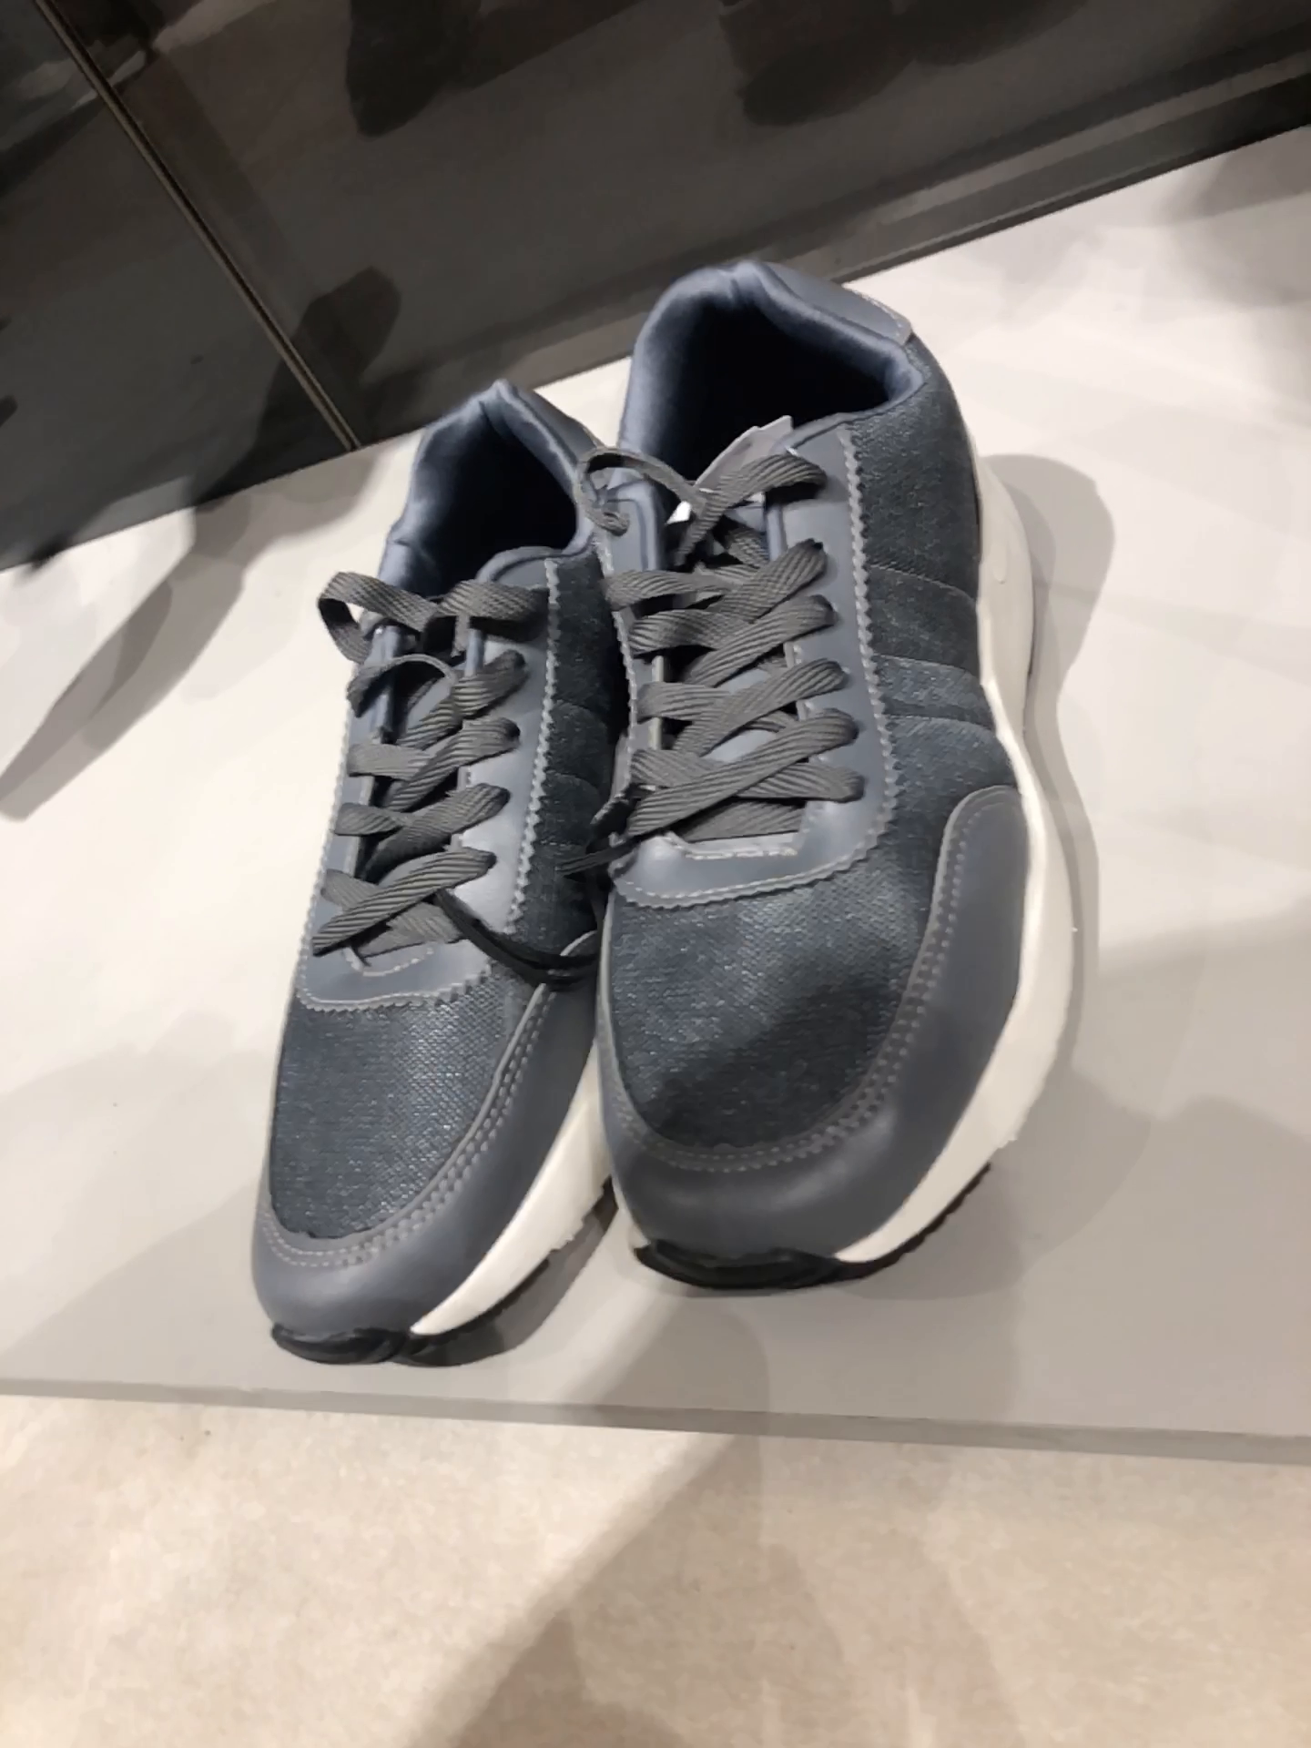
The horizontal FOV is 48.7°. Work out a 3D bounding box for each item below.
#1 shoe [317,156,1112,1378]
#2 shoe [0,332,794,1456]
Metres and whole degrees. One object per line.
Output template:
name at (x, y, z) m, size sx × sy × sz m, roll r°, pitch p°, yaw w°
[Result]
shoe at (0.035, -0.039, 0.344) m, size 0.110 × 0.099 × 0.281 m, roll -11°, pitch 46°, yaw 26°
shoe at (-0.051, -0.008, 0.386) m, size 0.110 × 0.099 × 0.281 m, roll -9°, pitch 47°, yaw 27°
